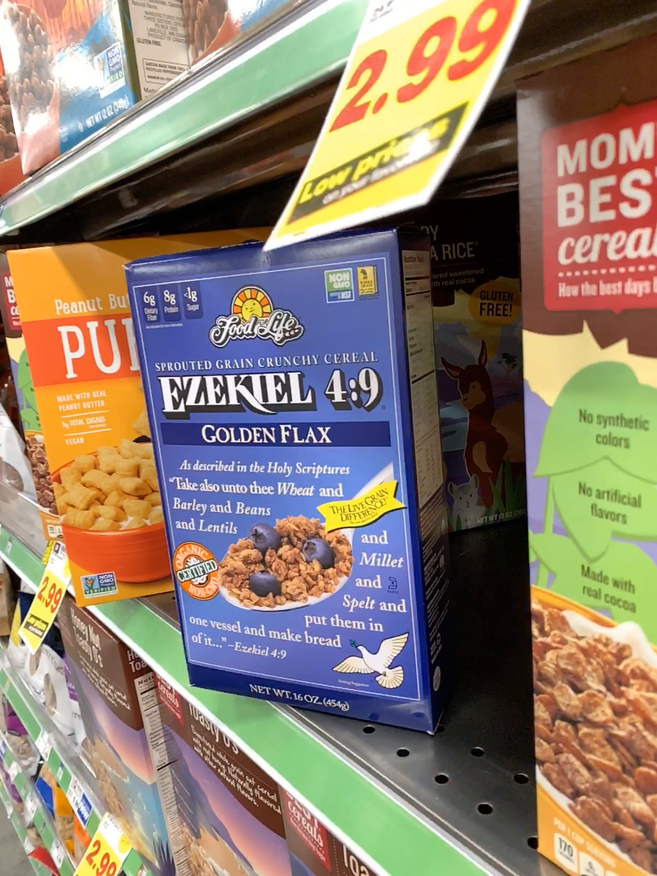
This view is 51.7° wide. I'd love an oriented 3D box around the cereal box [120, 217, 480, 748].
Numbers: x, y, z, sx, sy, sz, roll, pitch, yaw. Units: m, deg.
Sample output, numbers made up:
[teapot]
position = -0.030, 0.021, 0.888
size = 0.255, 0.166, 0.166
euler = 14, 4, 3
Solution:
[cereal box]
position = -0.012, 0.023, 0.369
size = 0.160, 0.249, 0.060
euler = 0, 12, 26
